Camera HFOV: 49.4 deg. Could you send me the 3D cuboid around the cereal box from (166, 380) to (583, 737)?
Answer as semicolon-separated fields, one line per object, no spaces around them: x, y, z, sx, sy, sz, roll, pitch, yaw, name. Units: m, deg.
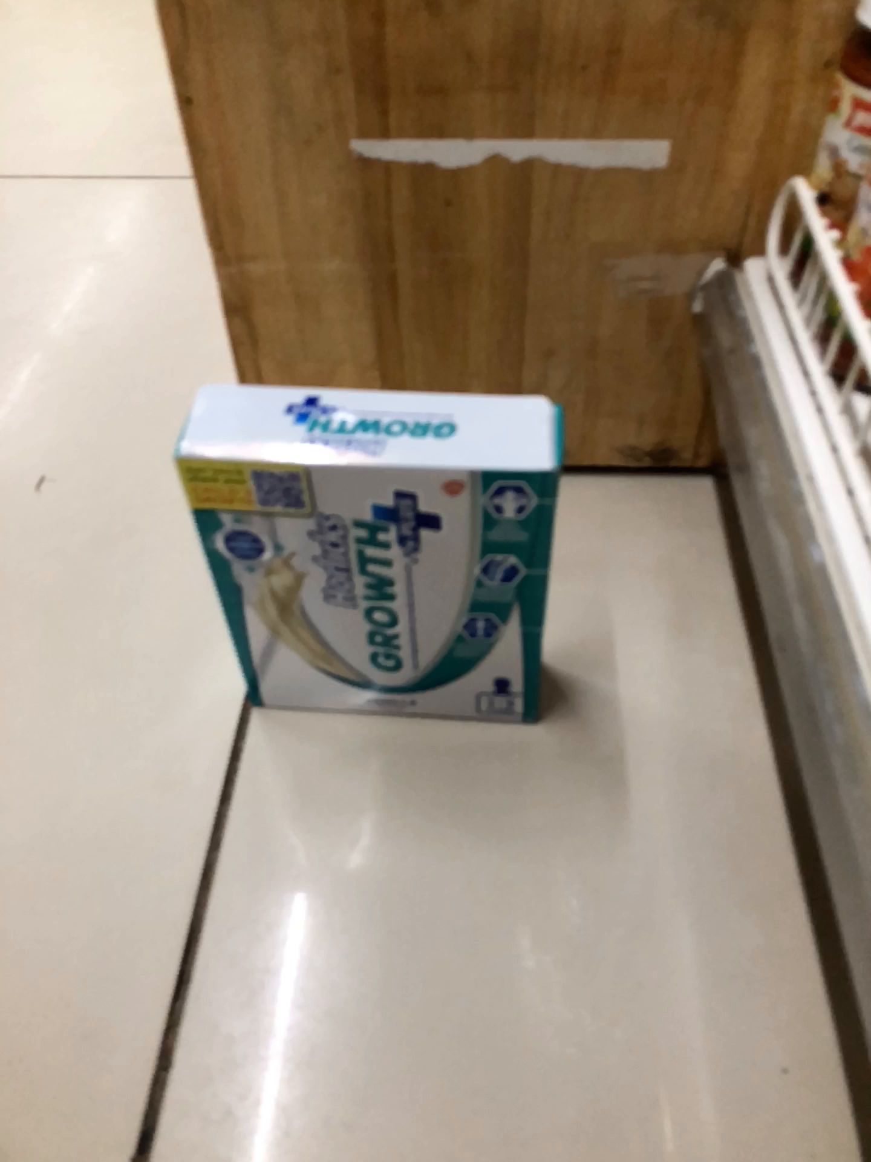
-0.017;-0.003;0.411;0.150;0.159;0.050;3;47;6;cereal box
